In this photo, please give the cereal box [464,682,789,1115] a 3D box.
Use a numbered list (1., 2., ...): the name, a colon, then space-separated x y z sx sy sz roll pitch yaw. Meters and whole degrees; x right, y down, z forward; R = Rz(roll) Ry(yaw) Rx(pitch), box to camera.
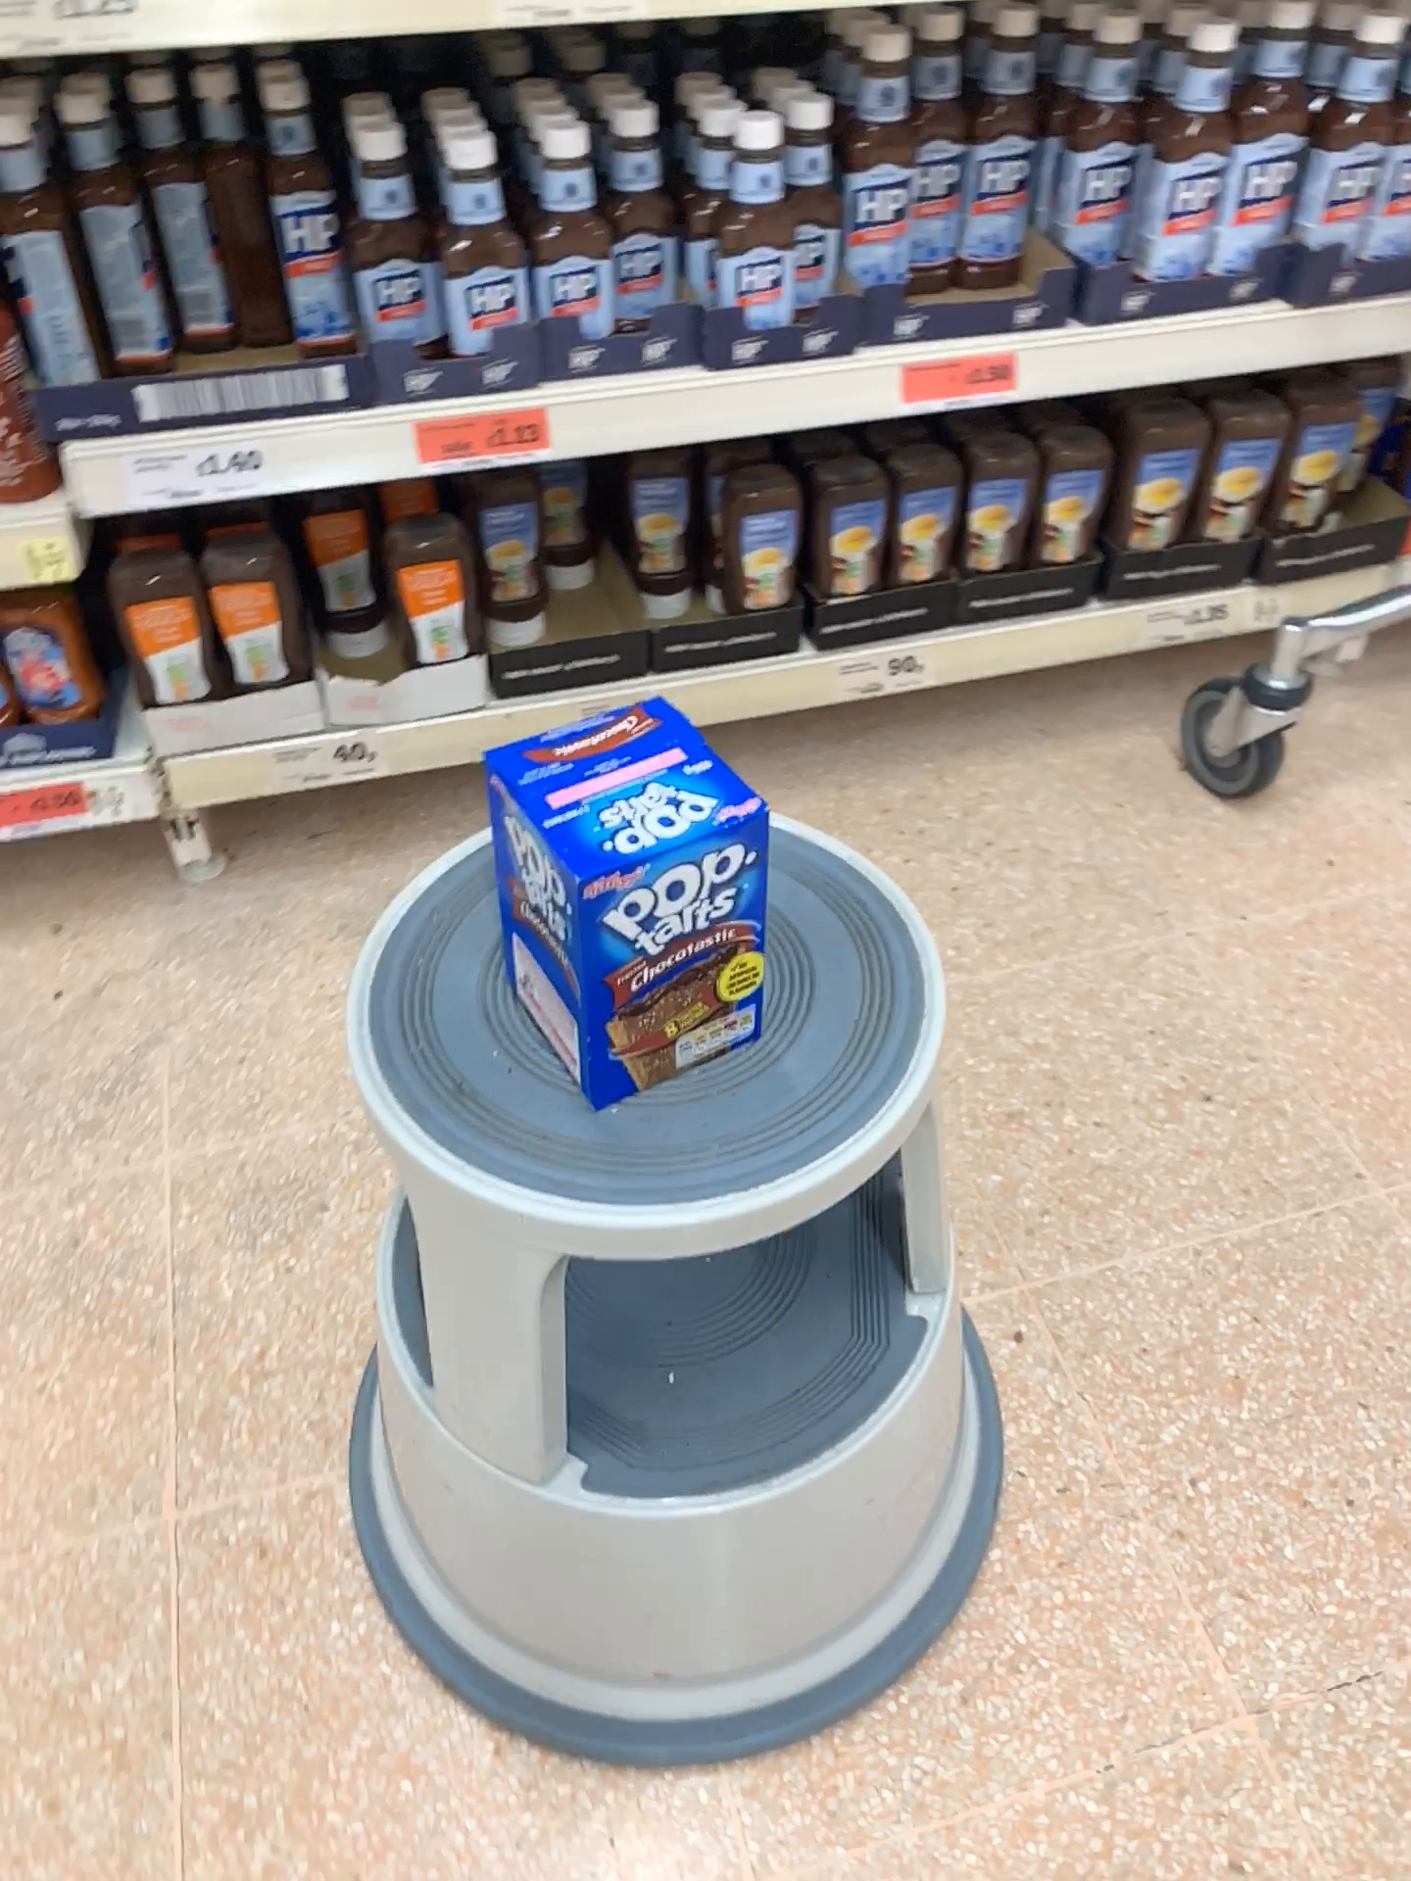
1. cereal box: -0.037 -0.020 0.672 0.100 0.139 0.111 -22 49 -22
